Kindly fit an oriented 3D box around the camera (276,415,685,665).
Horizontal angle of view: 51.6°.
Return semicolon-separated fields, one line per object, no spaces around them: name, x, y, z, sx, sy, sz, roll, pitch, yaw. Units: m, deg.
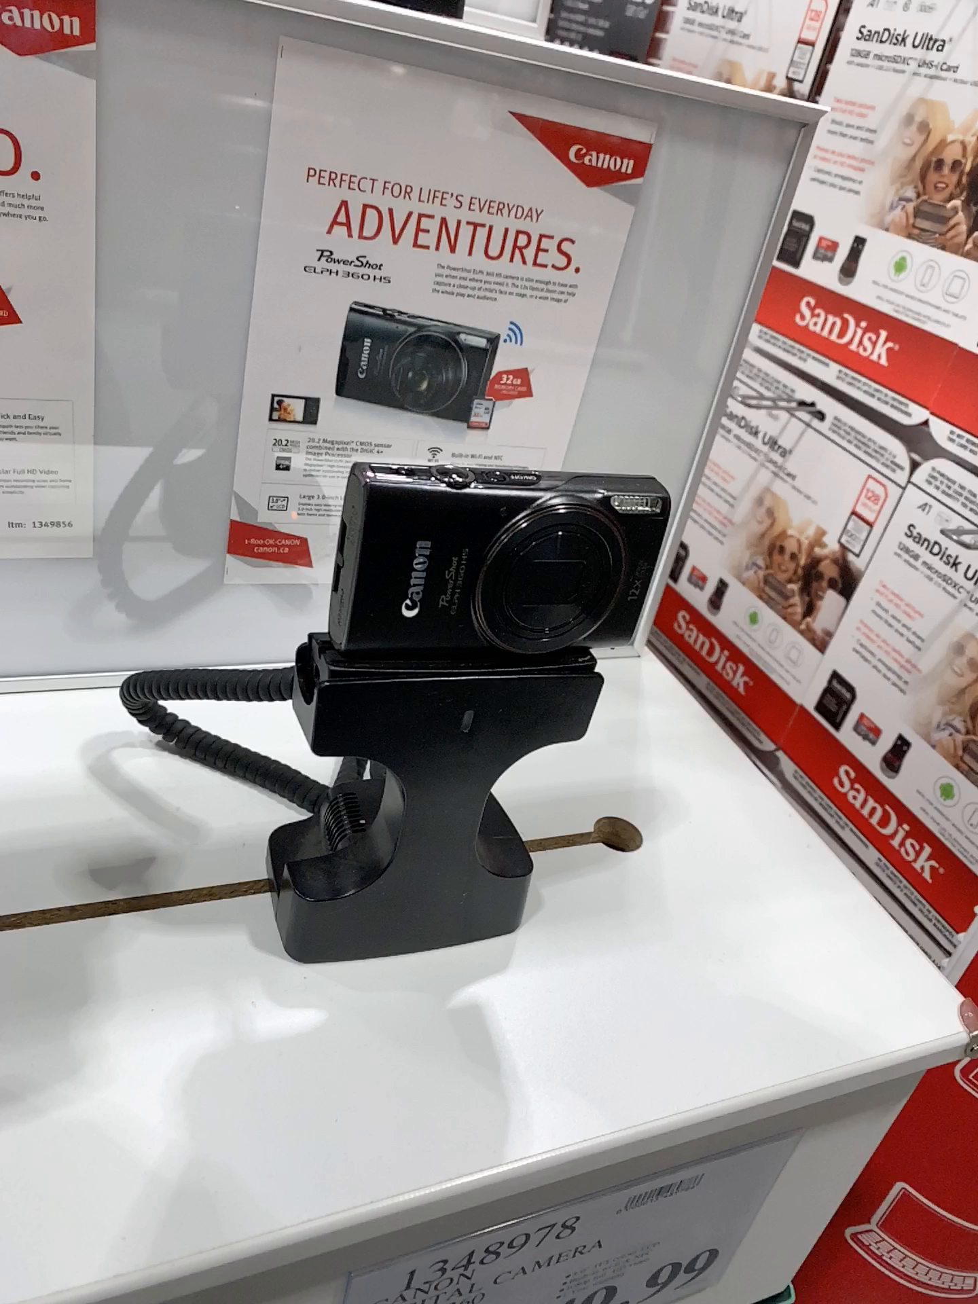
camera;-0.004;-0.033;0.312;0.110;0.060;0.040;-1;33;-23
